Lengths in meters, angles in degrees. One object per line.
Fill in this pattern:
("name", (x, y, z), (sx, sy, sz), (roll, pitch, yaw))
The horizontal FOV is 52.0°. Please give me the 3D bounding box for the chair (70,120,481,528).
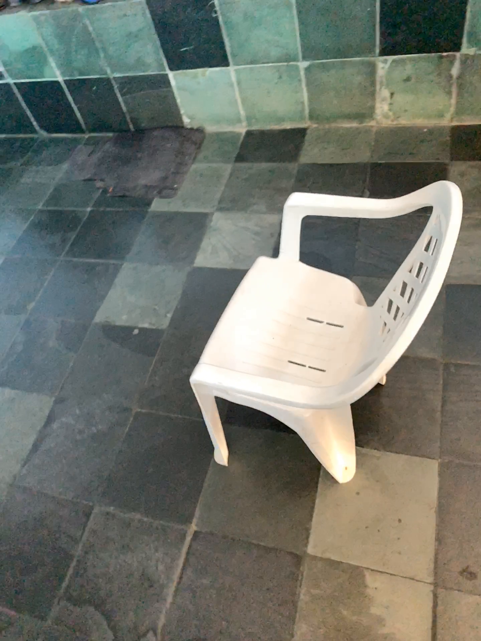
("chair", (0.147, 0.023, 1.155), (0.591, 0.717, 0.541), (12, 58, 22))
